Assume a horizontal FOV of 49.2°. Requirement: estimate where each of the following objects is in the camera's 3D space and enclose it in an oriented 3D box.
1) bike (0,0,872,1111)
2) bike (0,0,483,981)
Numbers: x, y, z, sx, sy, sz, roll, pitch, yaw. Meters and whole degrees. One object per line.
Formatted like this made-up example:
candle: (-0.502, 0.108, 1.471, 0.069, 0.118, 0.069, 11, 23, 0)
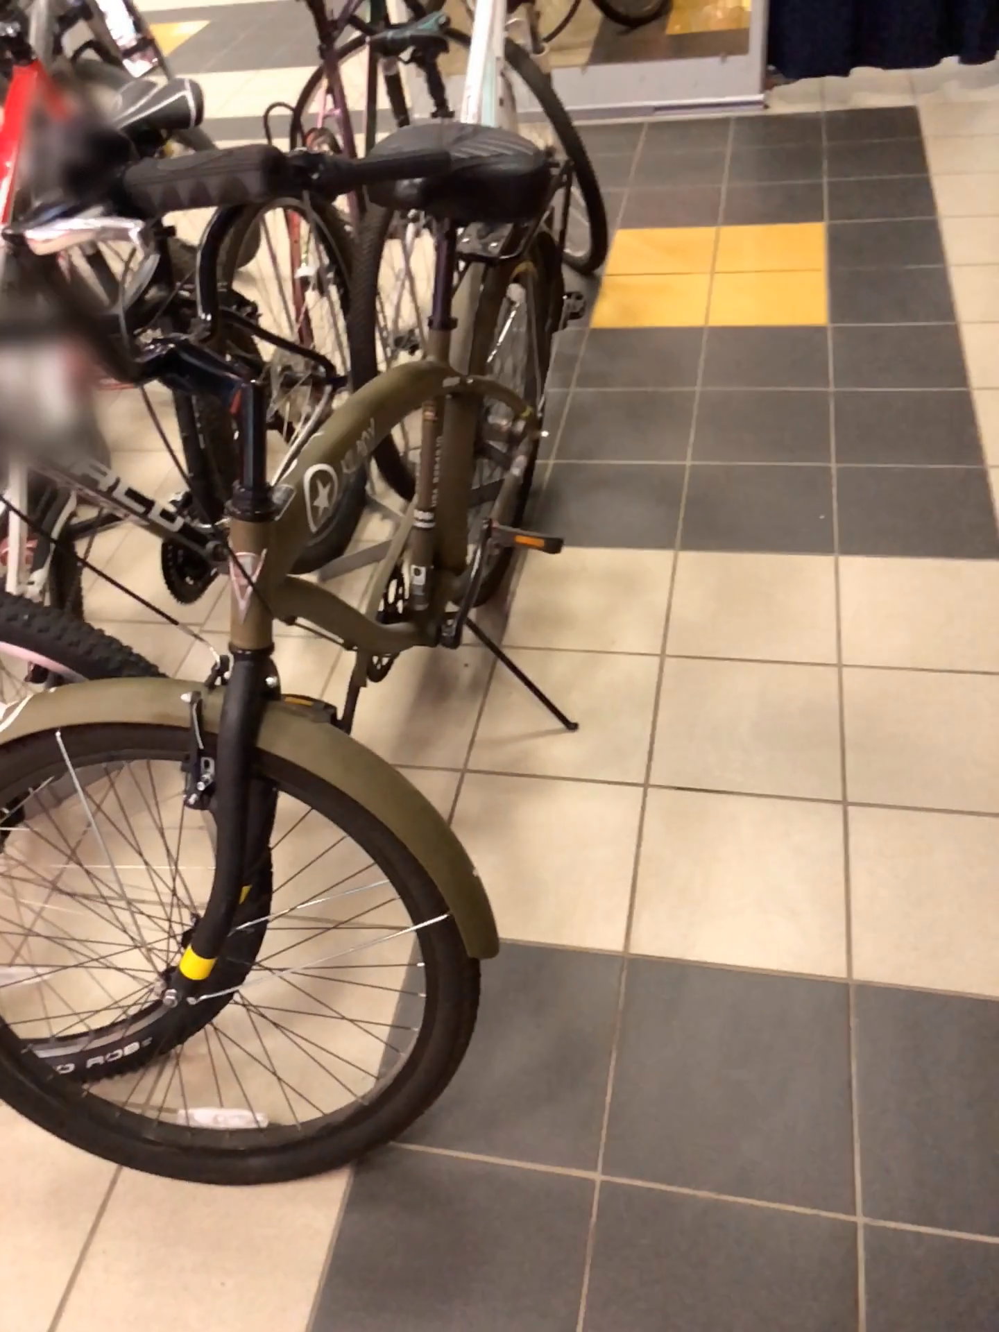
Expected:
bike: (-0.227, -0.401, 1.447, 0.832, 1.131, 1.500, 16, 45, 24)
bike: (-0.648, -0.293, 1.393, 0.664, 1.228, 0.976, 12, 40, 21)
